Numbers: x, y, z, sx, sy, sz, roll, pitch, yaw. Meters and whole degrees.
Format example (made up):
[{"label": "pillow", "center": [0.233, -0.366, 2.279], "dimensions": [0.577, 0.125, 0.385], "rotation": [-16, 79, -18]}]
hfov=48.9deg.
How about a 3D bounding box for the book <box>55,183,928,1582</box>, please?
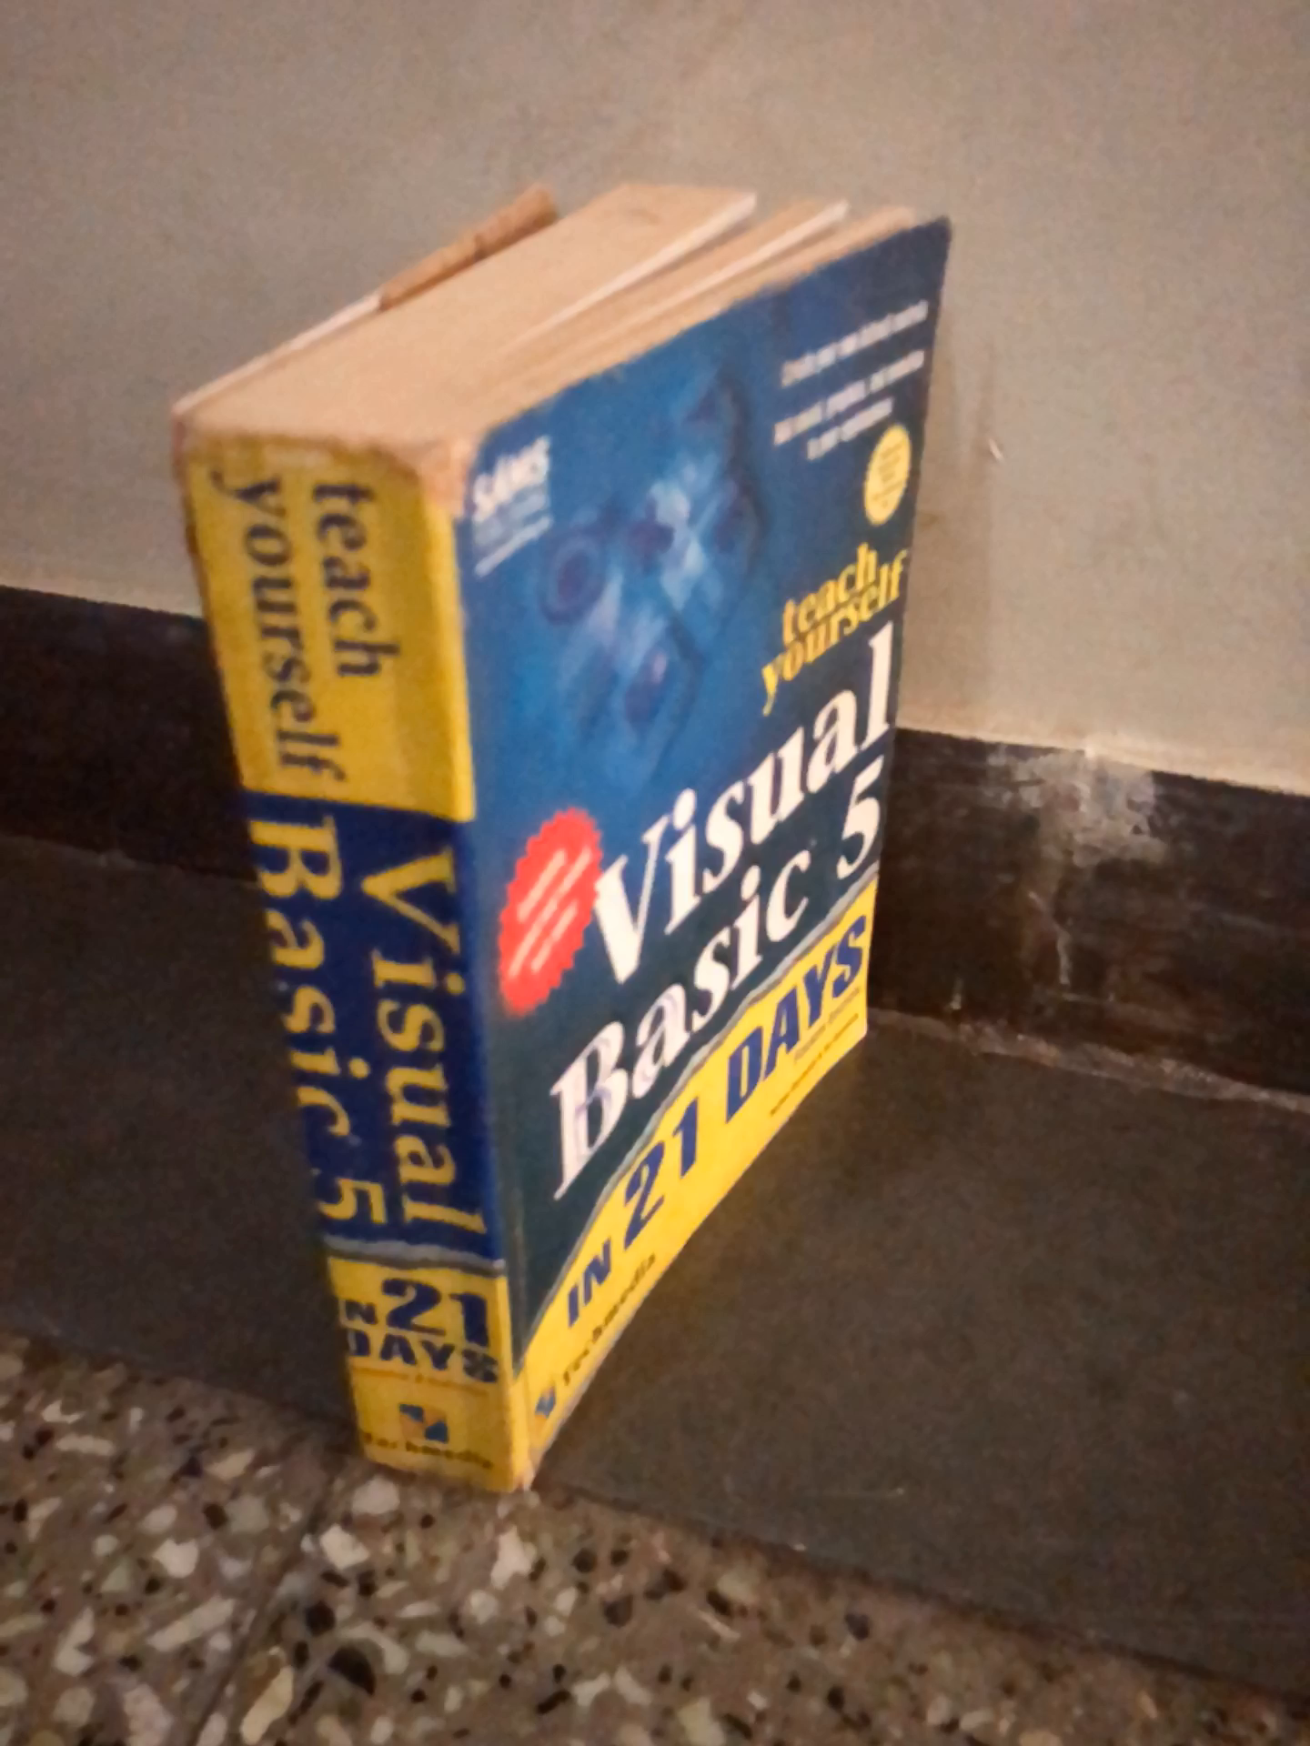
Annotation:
[{"label": "book", "center": [0.000, -0.020, 0.343], "dimensions": [0.060, 0.229, 0.251], "rotation": [10, 35, 20]}]
